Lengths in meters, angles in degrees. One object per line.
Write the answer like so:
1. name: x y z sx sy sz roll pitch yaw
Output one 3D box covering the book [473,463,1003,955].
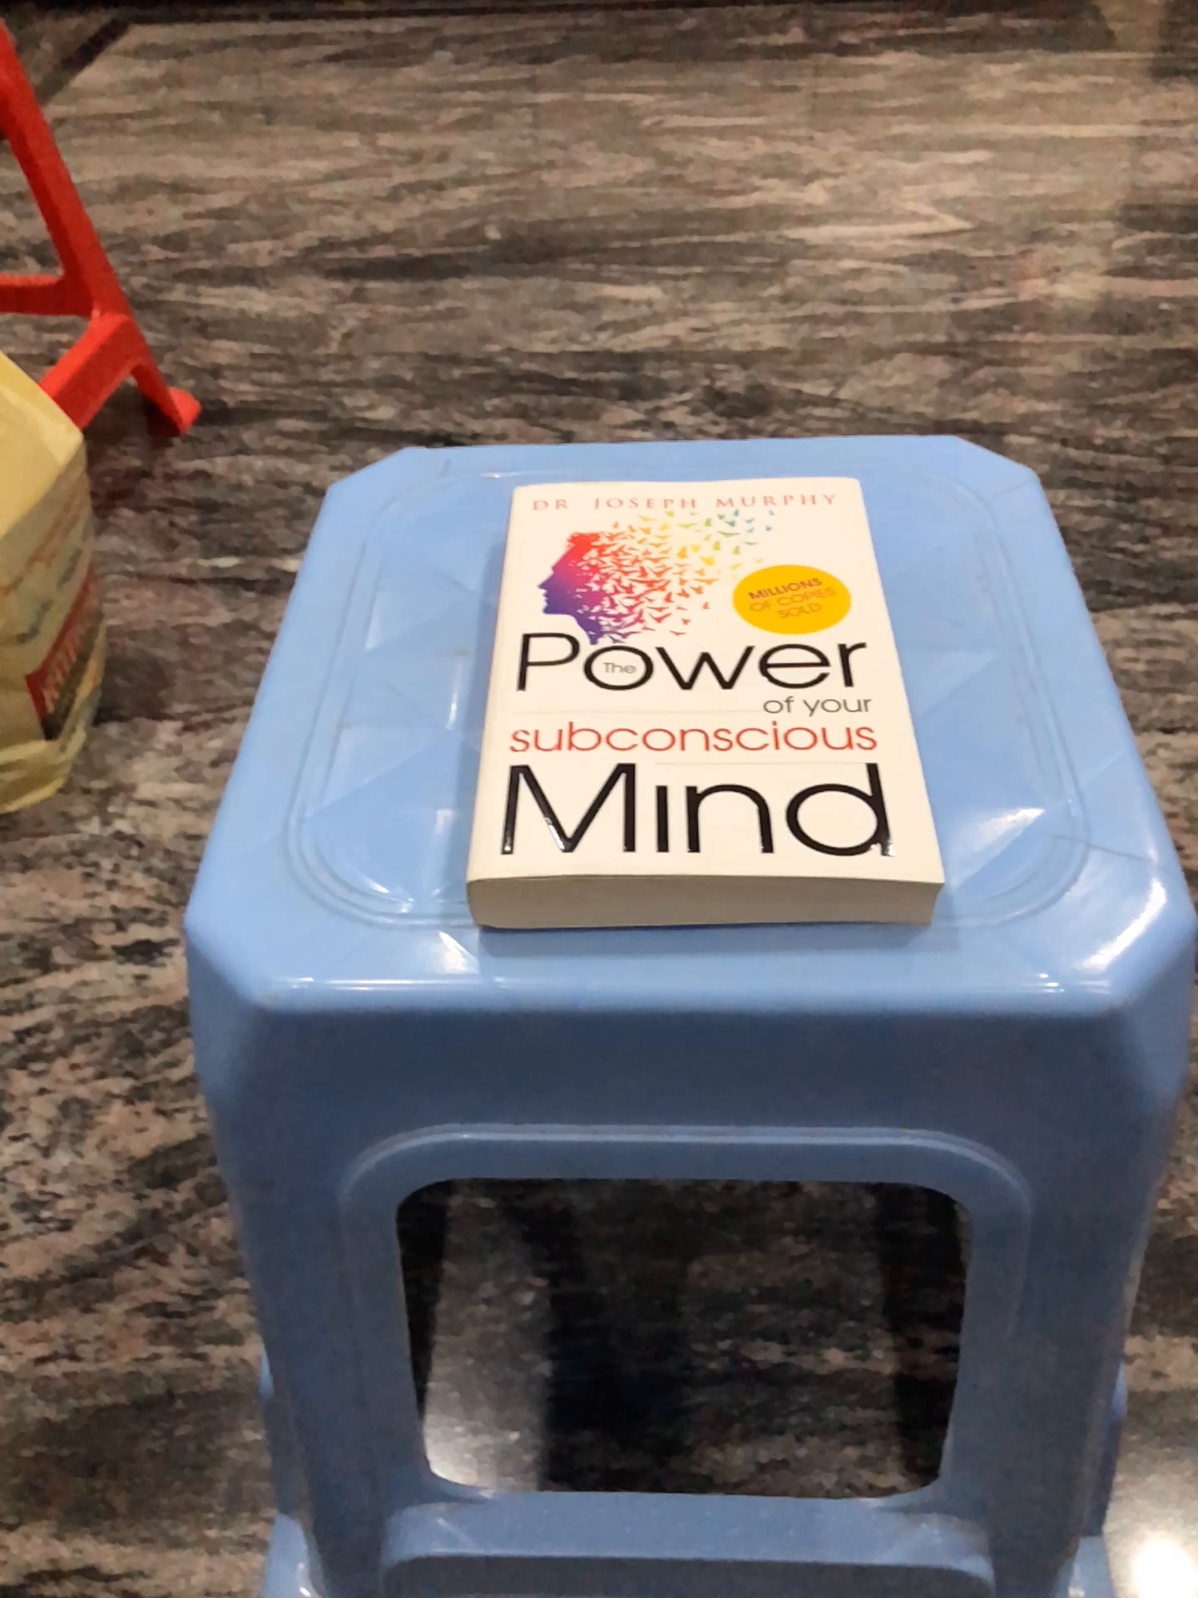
1. book: 0.038 -0.040 0.432 0.140 0.030 0.201 -1 46 2
